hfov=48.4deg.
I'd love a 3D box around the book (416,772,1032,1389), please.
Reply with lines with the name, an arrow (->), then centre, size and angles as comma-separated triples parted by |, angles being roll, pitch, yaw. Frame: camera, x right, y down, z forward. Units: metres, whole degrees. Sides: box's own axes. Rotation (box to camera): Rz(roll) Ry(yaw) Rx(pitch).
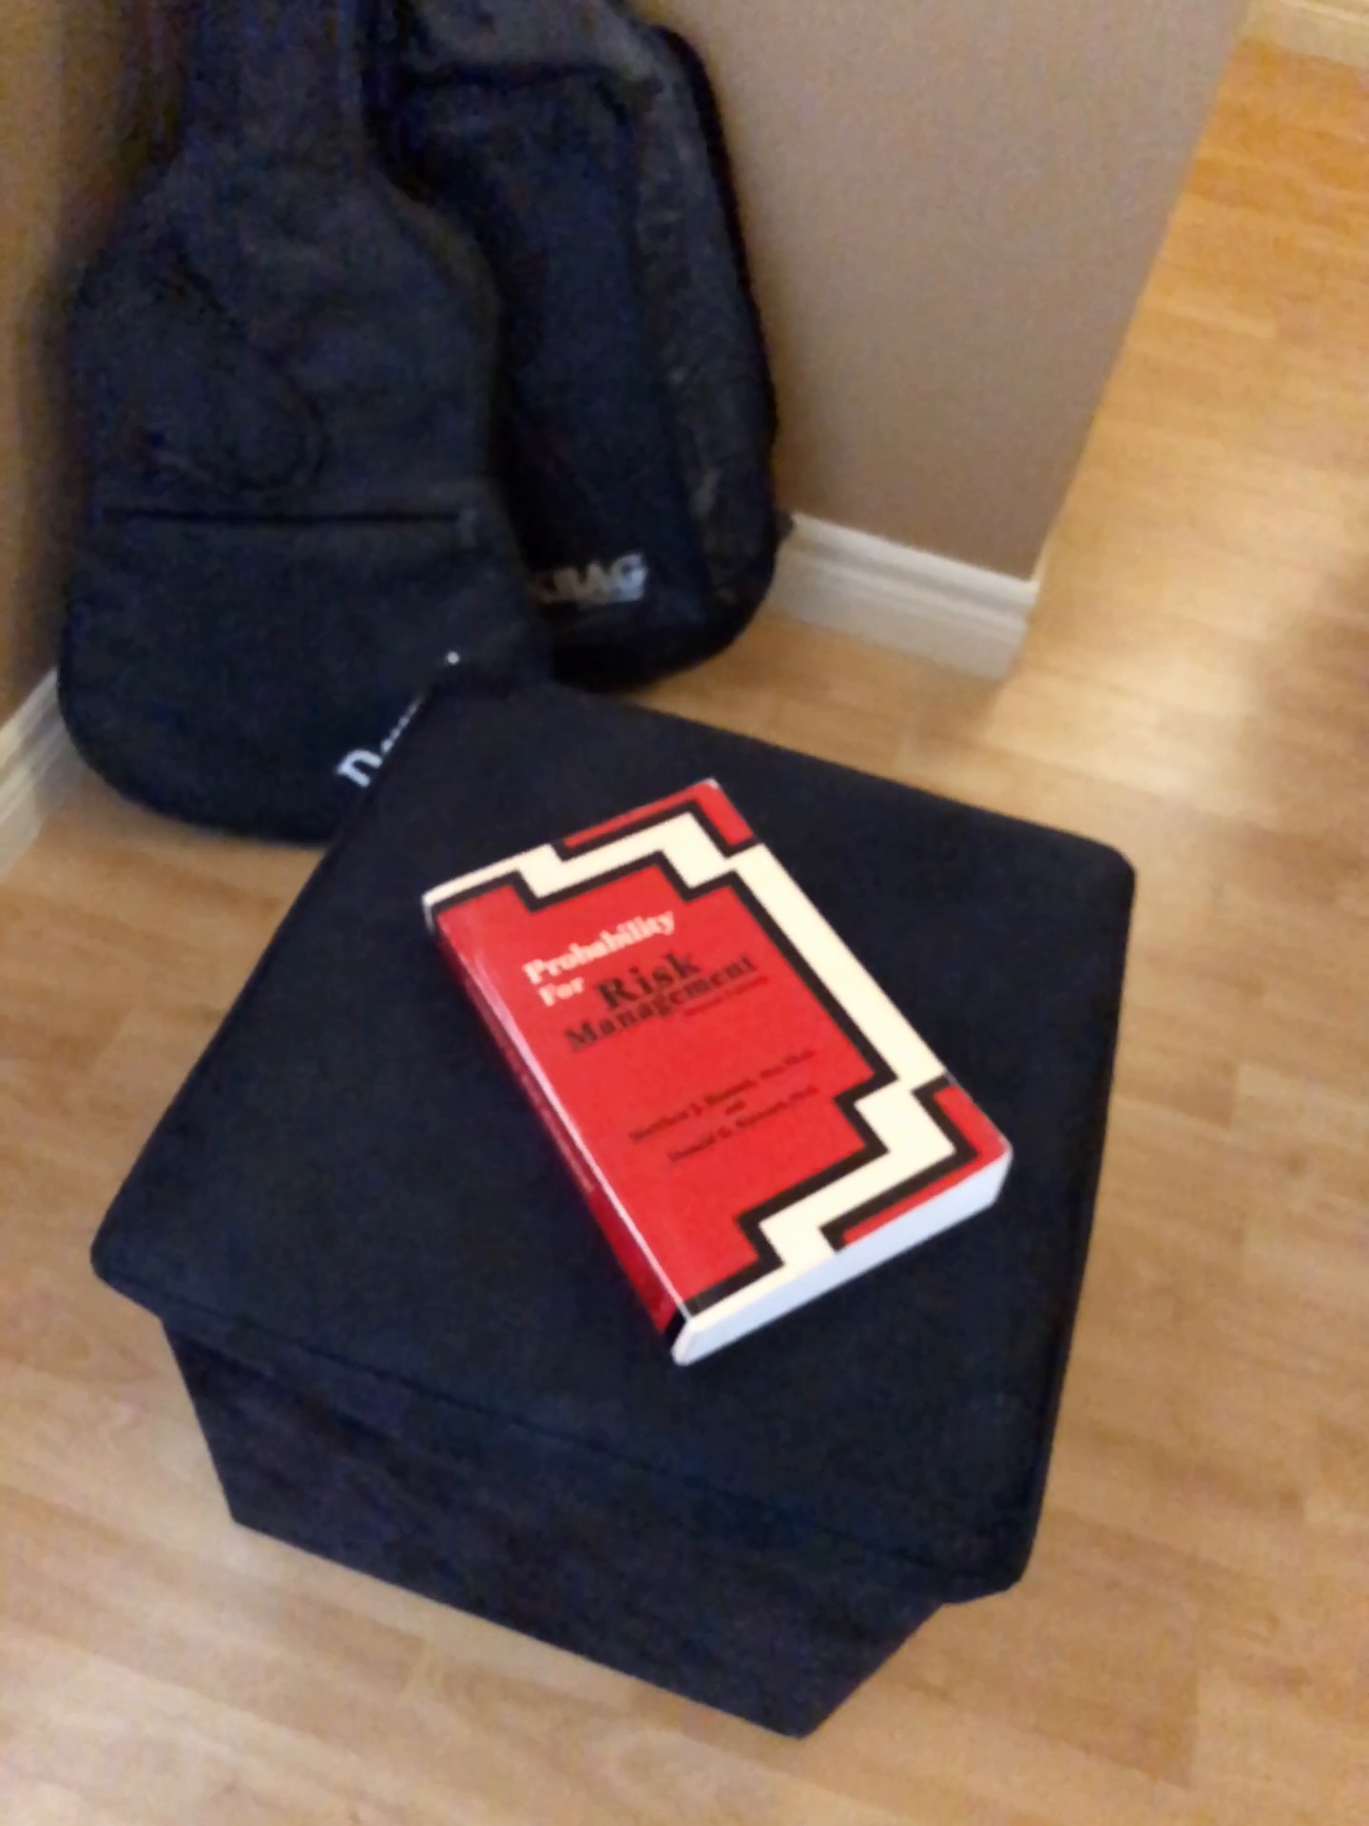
book -> 0.008, 0.053, 0.606 | 0.150, 0.042, 0.215 | -22, 58, -23
